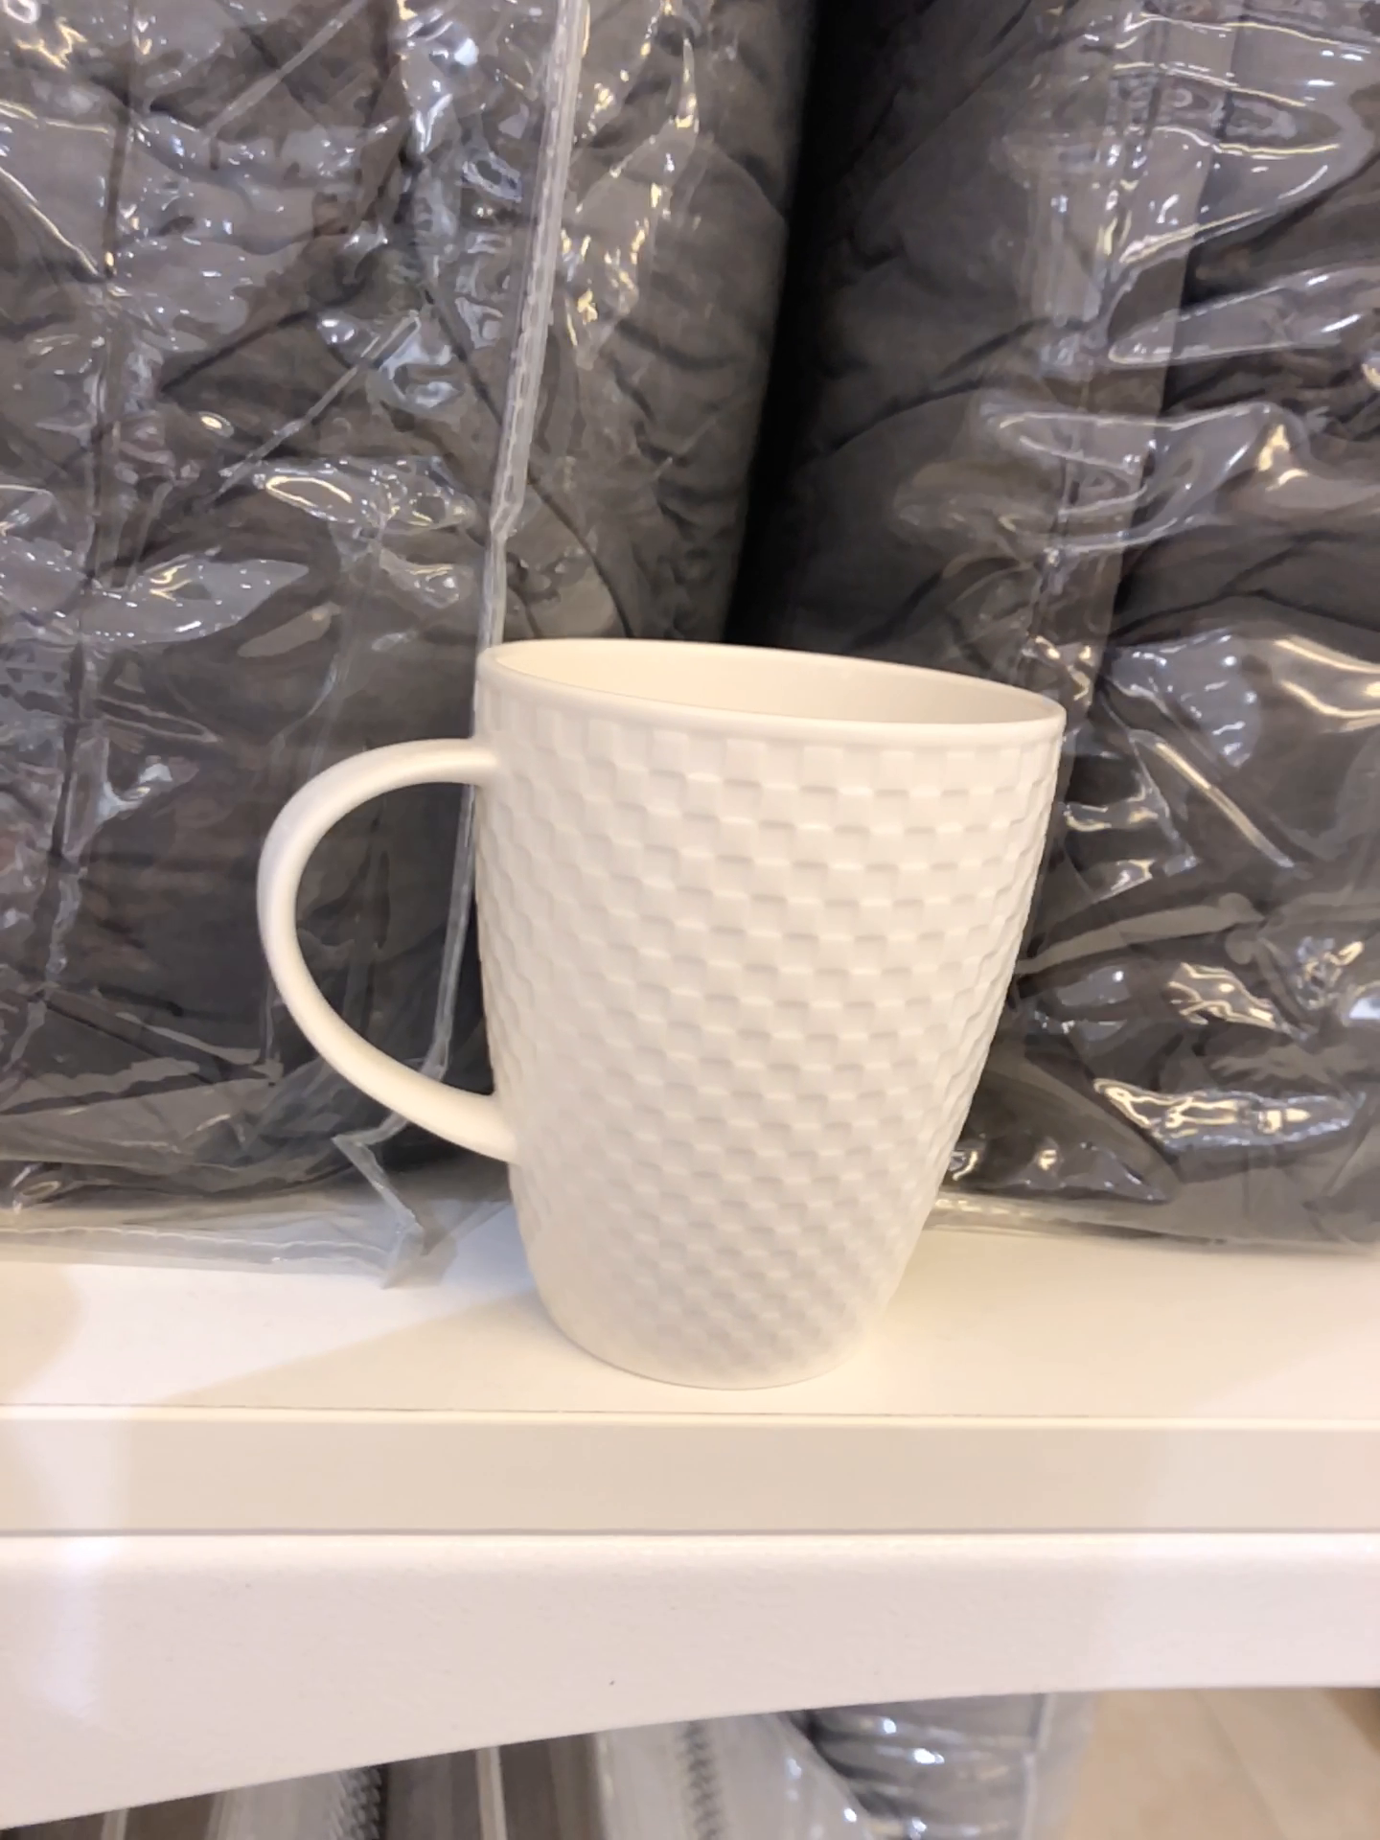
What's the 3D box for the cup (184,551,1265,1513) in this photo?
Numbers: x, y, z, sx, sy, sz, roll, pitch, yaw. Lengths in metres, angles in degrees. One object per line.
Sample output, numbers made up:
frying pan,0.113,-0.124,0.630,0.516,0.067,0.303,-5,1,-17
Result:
cup,-0.002,0.005,0.207,0.110,0.090,0.080,-1,17,-28
